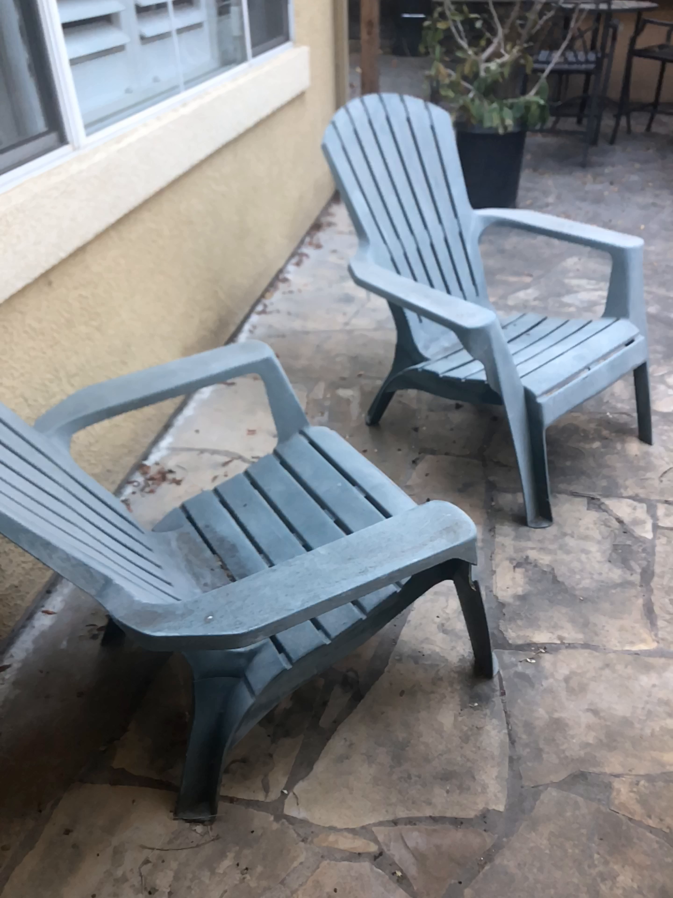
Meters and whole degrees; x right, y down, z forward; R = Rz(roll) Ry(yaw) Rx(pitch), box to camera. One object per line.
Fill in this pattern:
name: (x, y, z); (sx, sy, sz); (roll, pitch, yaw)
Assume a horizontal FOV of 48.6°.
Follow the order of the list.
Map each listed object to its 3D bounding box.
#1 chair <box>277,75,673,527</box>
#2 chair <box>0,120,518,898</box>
chair: (0.449, -0.488, 2.061); (0.695, 0.883, 0.921); (-29, 39, -33)
chair: (-0.309, 0.274, 1.235); (0.914, 1.220, 0.743); (-29, 40, -21)
